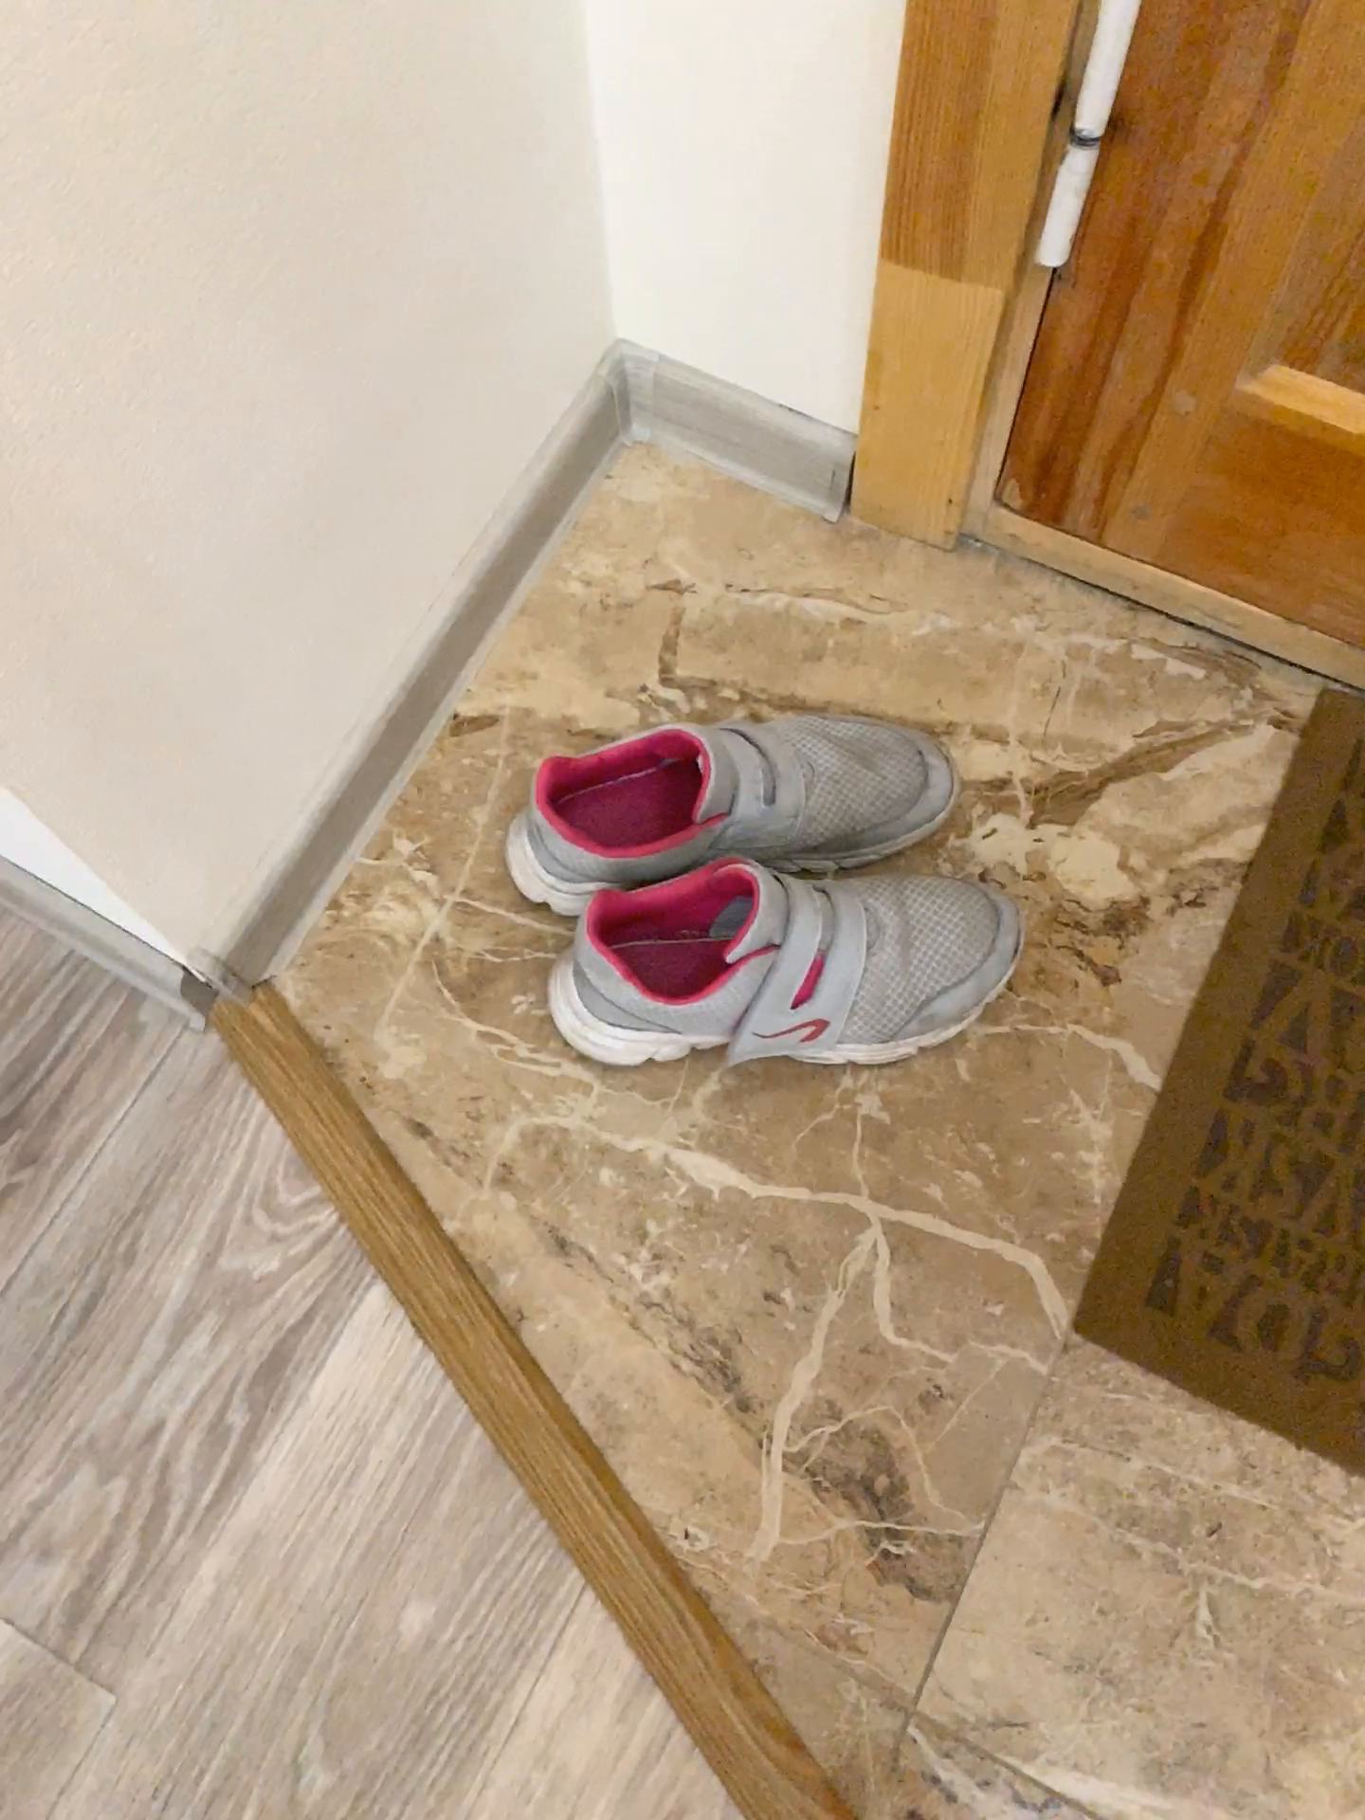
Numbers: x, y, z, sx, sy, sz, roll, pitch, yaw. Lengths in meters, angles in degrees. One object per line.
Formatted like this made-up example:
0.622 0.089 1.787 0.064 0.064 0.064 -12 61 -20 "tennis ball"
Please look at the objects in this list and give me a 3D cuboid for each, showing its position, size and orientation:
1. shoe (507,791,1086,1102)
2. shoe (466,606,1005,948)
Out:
0.051 0.021 0.702 0.260 0.100 0.100 -6 67 0 "shoe"
0.025 -0.067 0.734 0.250 0.100 0.100 -11 67 -2 "shoe"
